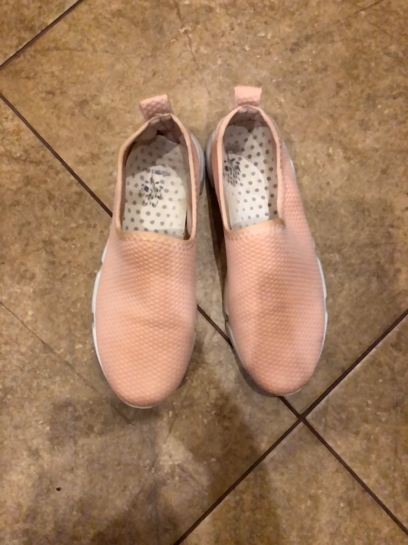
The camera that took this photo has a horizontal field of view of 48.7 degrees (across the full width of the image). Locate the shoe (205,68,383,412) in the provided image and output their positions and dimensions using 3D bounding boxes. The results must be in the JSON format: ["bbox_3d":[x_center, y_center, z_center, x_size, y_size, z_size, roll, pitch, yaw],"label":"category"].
[{"bbox_3d":[0.060,-0.022,0.358,0.090,0.100,0.230,-6,84,-2],"label":"shoe"}]

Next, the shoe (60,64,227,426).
[{"bbox_3d":[-0.039,-0.017,0.363,0.090,0.120,0.240,5,83,-1],"label":"shoe"}]
